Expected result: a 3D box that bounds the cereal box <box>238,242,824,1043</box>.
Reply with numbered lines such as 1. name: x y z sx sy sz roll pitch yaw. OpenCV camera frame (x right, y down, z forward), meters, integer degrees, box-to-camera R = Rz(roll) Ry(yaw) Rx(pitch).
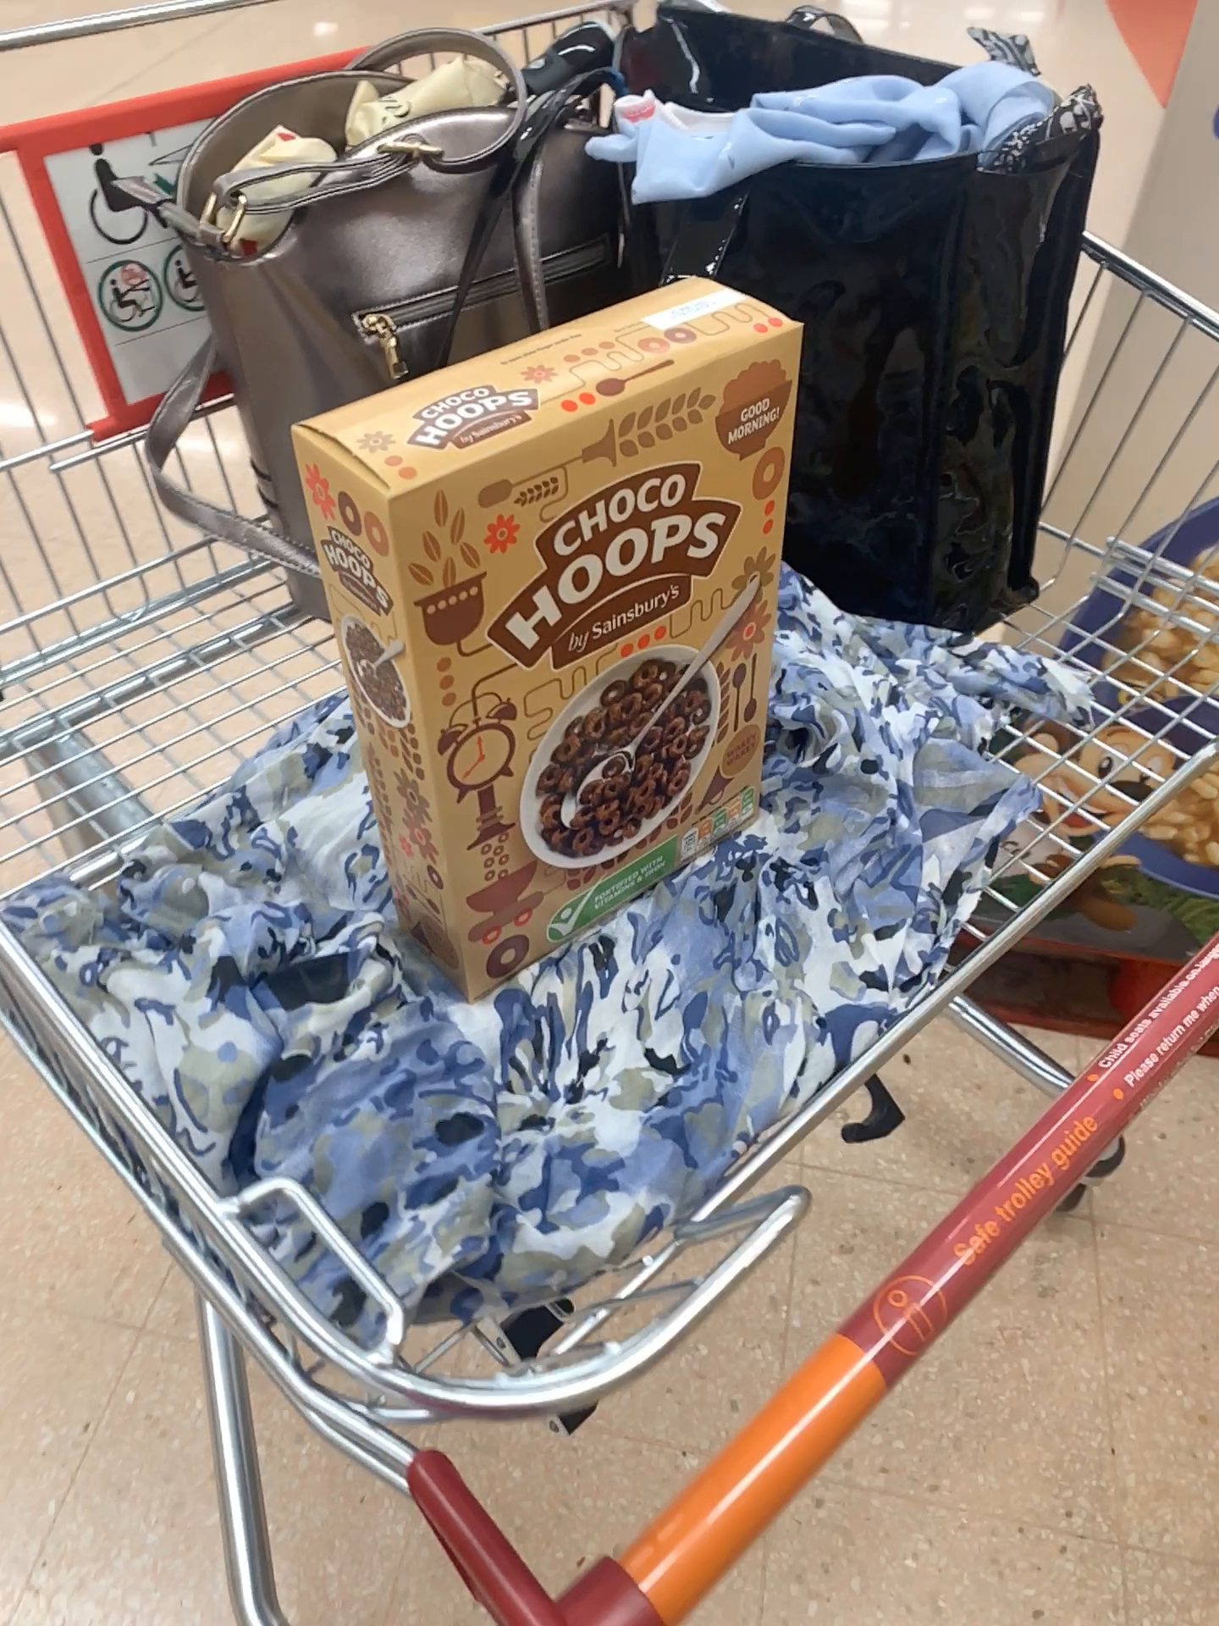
1. cereal box: -0.021 -0.067 0.561 0.221 0.297 0.070 -31 51 -29
